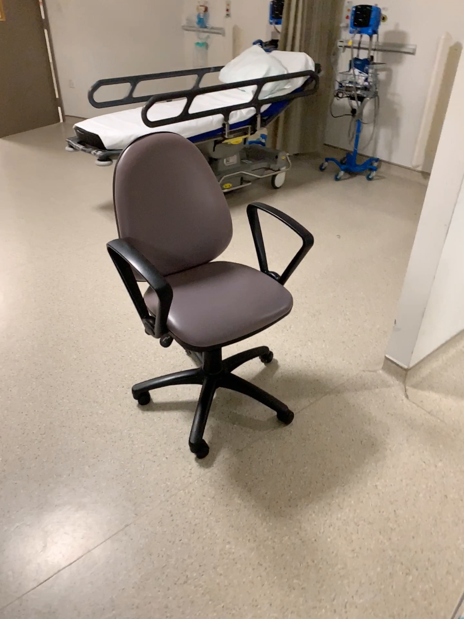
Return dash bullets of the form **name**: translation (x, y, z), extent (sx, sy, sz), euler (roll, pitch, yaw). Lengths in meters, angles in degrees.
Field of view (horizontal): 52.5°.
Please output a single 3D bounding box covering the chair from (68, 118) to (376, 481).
- **chair**: translation (-0.050, -0.089, 1.618), extent (0.633, 0.899, 0.658), euler (-23, 40, -32)
